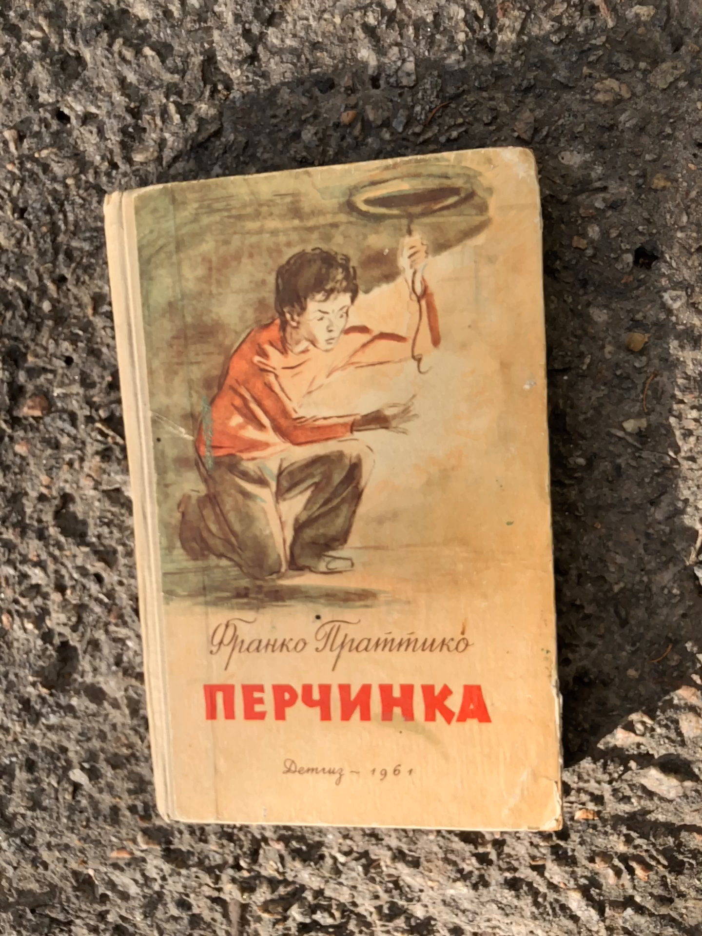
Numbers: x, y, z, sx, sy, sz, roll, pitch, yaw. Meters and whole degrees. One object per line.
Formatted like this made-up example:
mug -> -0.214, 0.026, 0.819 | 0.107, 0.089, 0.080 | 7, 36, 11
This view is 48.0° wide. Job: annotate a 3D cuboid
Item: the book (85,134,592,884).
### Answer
book -> -0.001, 0.017, 0.234 | 0.132, 0.030, 0.203 | -2, 95, 7
